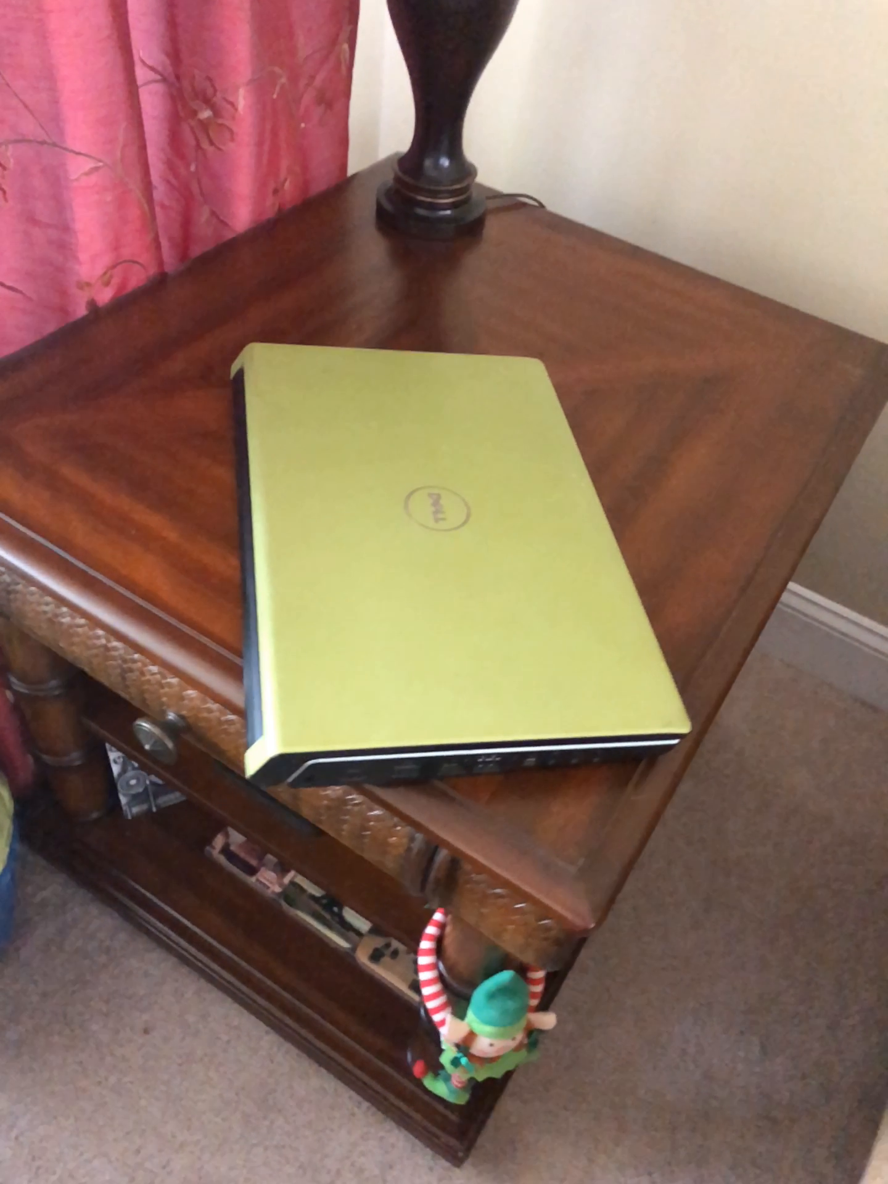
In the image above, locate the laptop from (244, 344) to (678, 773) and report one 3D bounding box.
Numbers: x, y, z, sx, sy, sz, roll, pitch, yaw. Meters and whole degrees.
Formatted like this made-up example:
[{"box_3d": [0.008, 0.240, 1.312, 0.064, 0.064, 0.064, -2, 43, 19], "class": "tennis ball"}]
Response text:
[{"box_3d": [-0.011, -0.049, 0.672, 0.236, 0.020, 0.380, 0, 47, -15], "class": "laptop"}]
